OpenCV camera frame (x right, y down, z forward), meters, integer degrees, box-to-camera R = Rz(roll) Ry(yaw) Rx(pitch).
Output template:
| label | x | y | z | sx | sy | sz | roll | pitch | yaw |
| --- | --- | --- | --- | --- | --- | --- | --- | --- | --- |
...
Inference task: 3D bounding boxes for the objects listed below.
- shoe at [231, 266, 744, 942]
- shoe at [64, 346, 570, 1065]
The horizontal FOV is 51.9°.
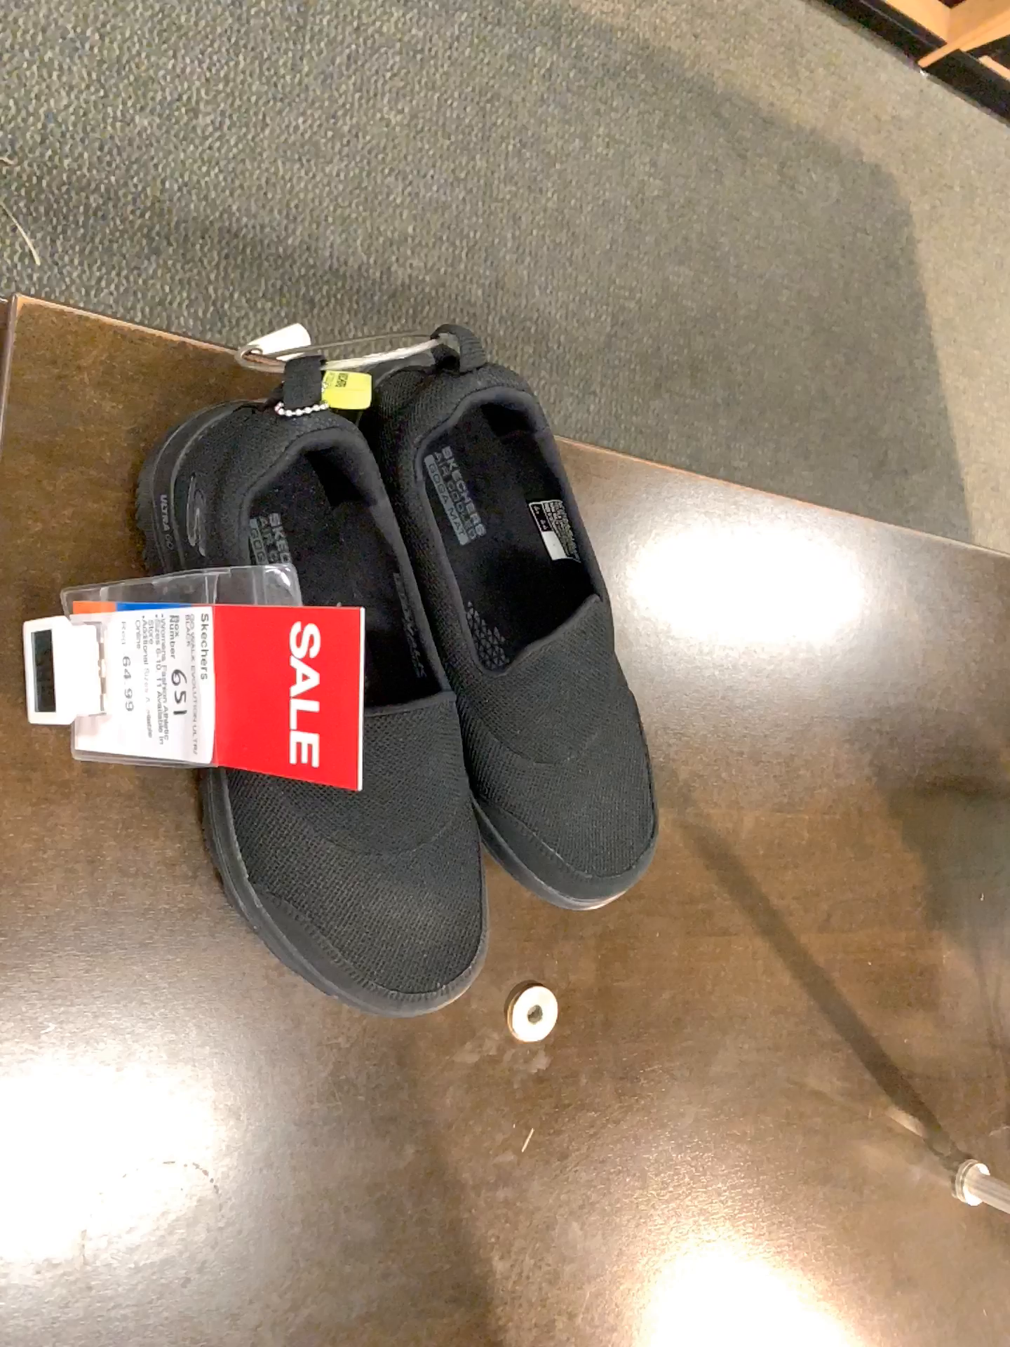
| label | x | y | z | sx | sy | sz | roll | pitch | yaw |
| --- | --- | --- | --- | --- | --- | --- | --- | --- | --- |
| shoe | -0.007 | -0.025 | 0.448 | 0.094 | 0.110 | 0.244 | -30 | 105 | -27 |
| shoe | -0.075 | 0.010 | 0.406 | 0.094 | 0.110 | 0.230 | -23 | 101 | -29 |
